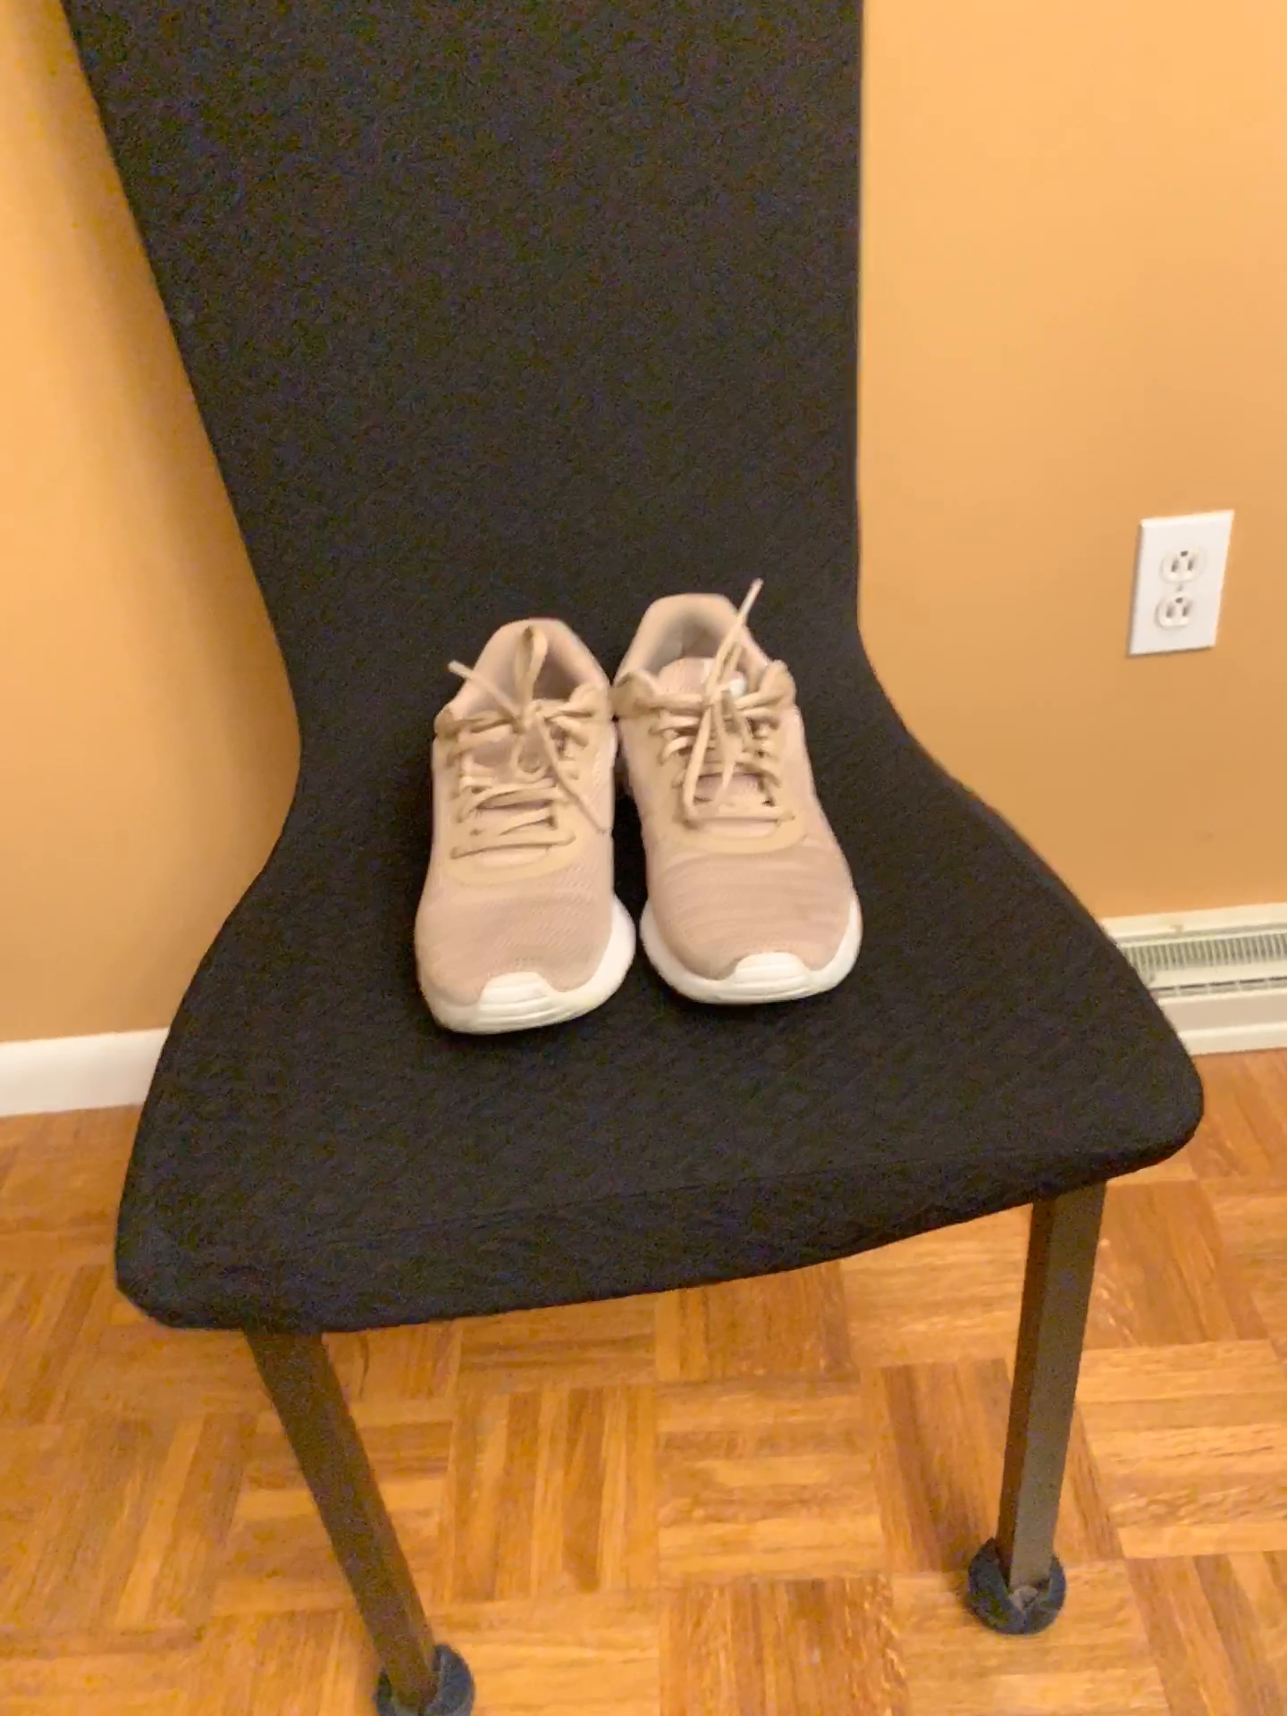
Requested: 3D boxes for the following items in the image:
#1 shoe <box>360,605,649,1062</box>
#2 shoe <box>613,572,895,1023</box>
[{"bbox_3d":[-0.060,-0.027,0.677,0.110,0.089,0.272,-6,34,2],"label":"shoe"},{"bbox_3d":[0.046,-0.044,0.657,0.110,0.089,0.262,-6,34,2],"label":"shoe"}]
